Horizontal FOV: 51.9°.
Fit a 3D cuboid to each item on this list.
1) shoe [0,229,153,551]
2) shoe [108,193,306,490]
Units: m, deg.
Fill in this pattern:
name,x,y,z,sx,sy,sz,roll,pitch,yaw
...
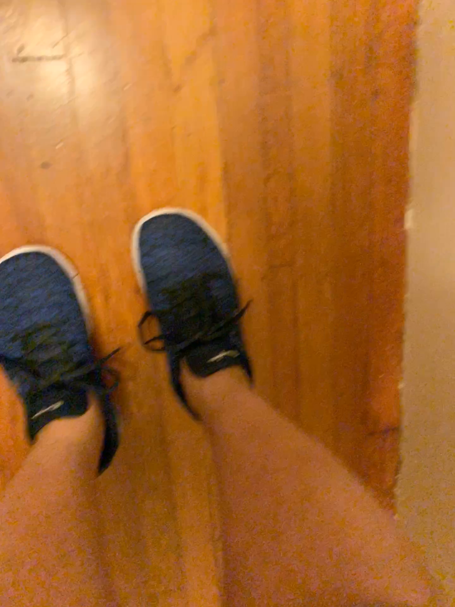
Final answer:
name,x,y,z,sx,sy,sz,roll,pitch,yaw
shoe,-0.184,0.084,0.511,0.115,0.150,0.291,-17,109,-6
shoe,-0.022,0.035,0.520,0.117,0.130,0.281,-19,109,-5
